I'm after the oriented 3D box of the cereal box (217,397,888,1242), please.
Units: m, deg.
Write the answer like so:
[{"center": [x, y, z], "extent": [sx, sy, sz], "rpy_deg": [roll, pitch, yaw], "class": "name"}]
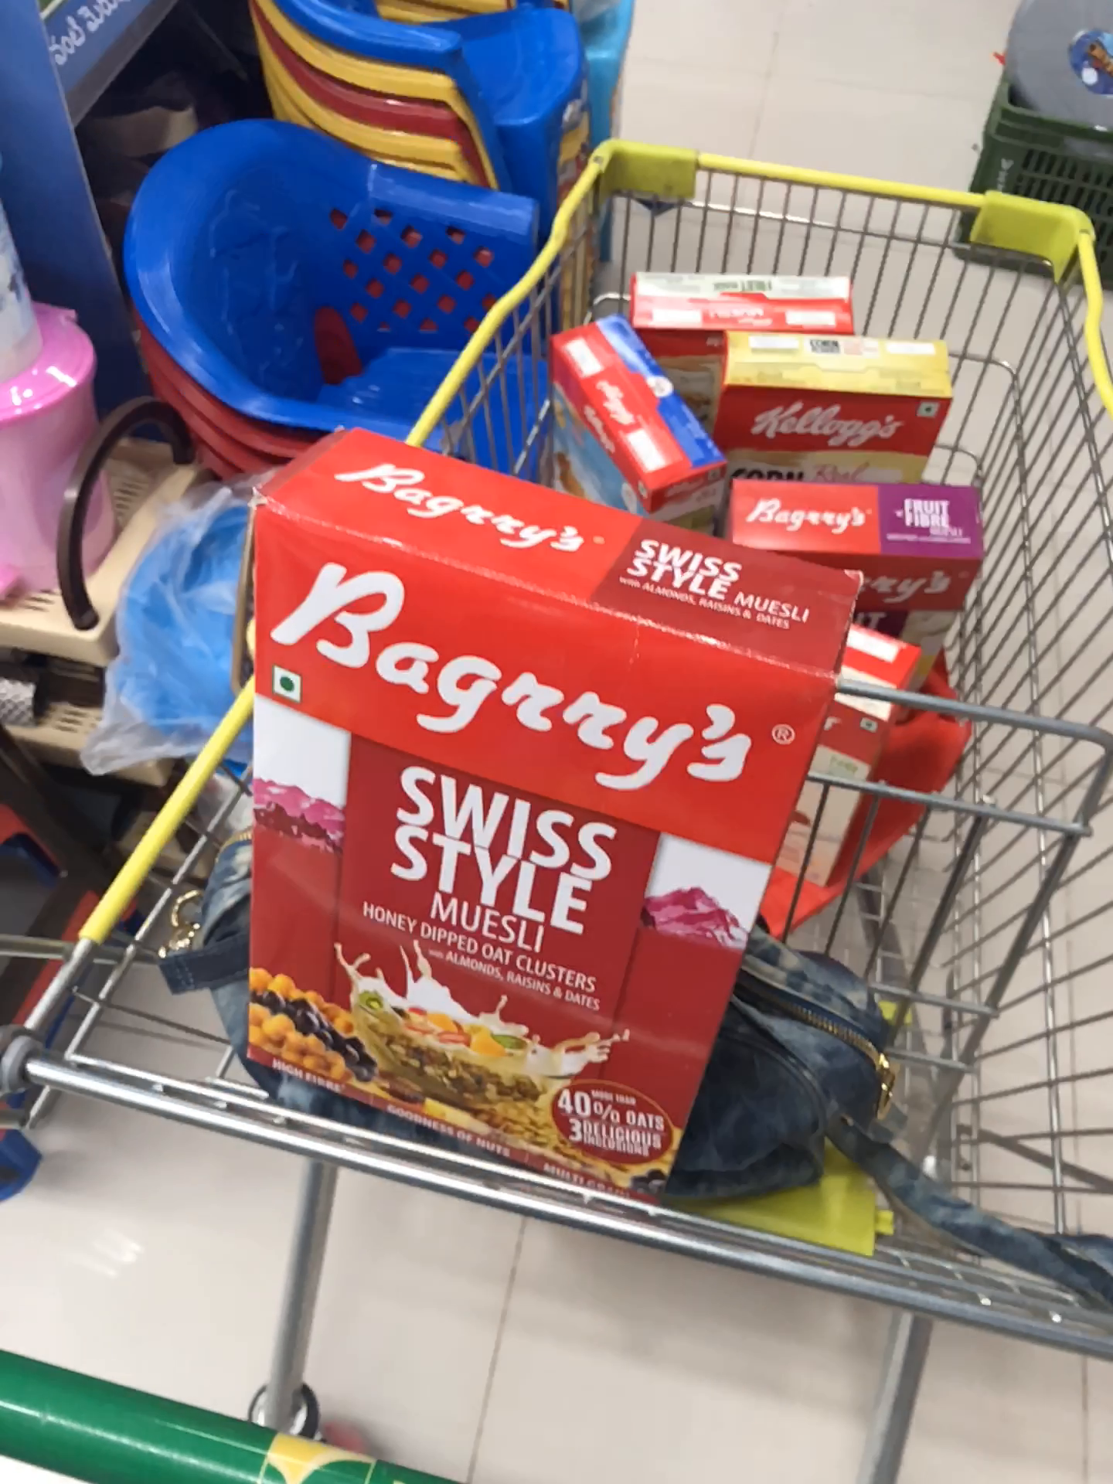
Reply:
[{"center": [-0.018, 0.036, 0.441], "extent": [0.190, 0.259, 0.070], "rpy_deg": [18, 34, 11], "class": "cereal box"}]
